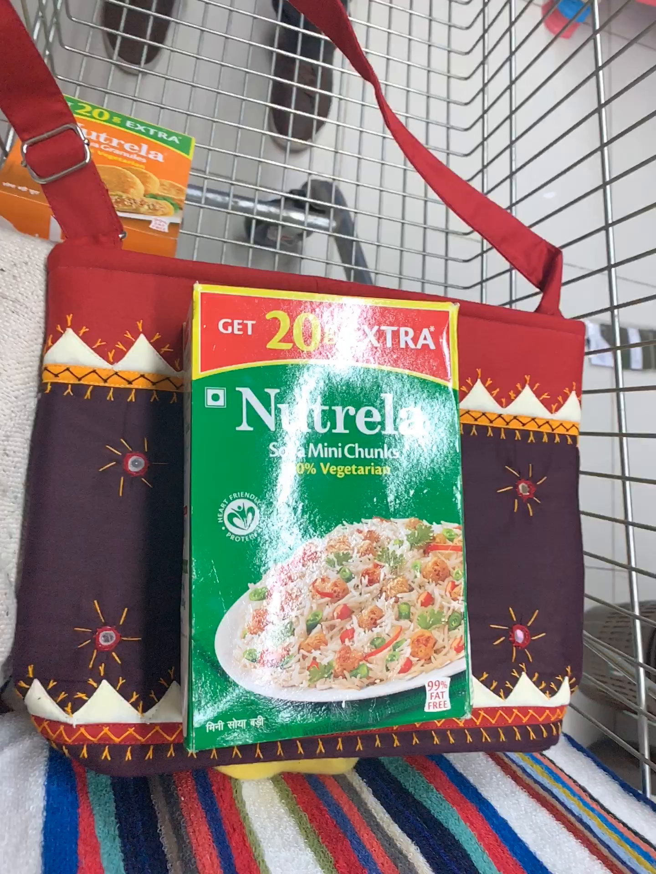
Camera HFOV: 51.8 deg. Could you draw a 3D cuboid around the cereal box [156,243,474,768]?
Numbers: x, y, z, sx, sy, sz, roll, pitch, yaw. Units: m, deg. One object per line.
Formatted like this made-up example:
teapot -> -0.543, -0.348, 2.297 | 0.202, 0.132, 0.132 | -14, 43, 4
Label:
cereal box -> -0.009, 0.024, 0.287 | 0.120, 0.050, 0.190 | 0, 83, -18
